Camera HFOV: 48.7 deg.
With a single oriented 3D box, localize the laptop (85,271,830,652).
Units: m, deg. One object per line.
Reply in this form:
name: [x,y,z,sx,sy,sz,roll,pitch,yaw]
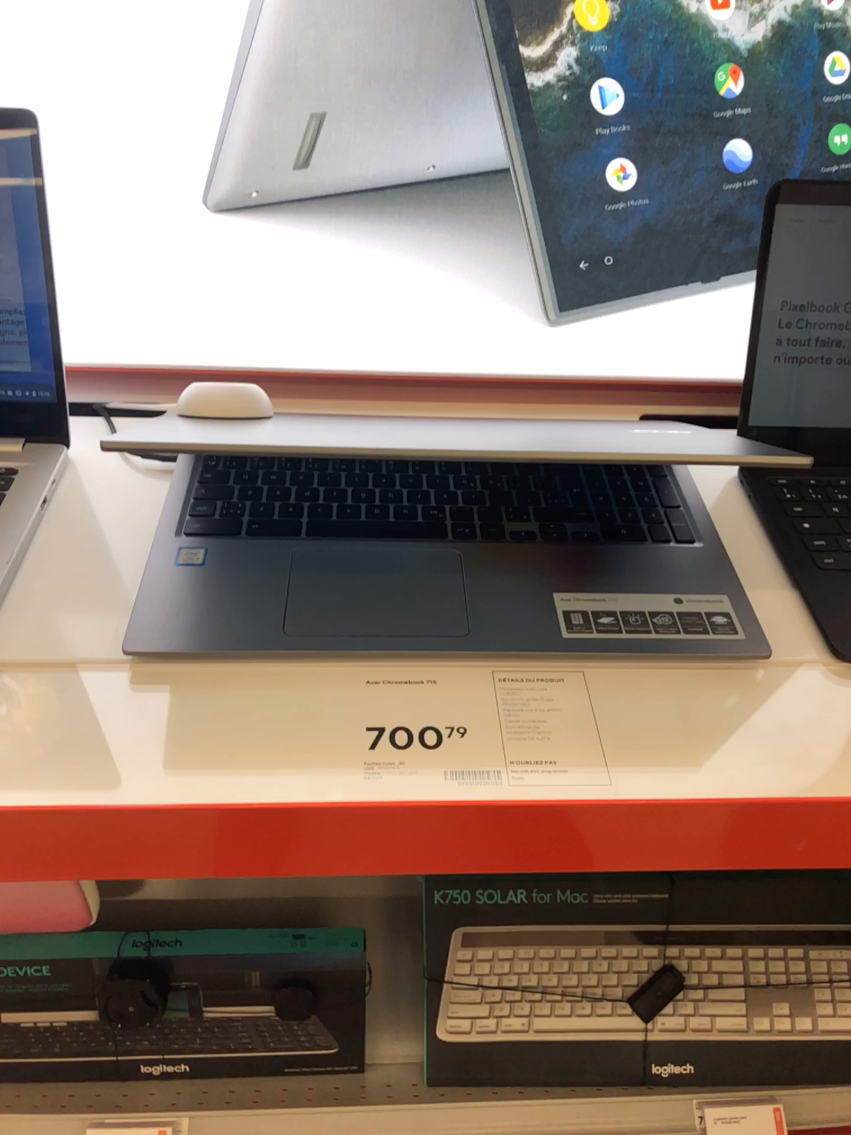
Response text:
laptop: [0.016,-0.076,0.587,0.368,0.109,0.245,0,40,-6]
